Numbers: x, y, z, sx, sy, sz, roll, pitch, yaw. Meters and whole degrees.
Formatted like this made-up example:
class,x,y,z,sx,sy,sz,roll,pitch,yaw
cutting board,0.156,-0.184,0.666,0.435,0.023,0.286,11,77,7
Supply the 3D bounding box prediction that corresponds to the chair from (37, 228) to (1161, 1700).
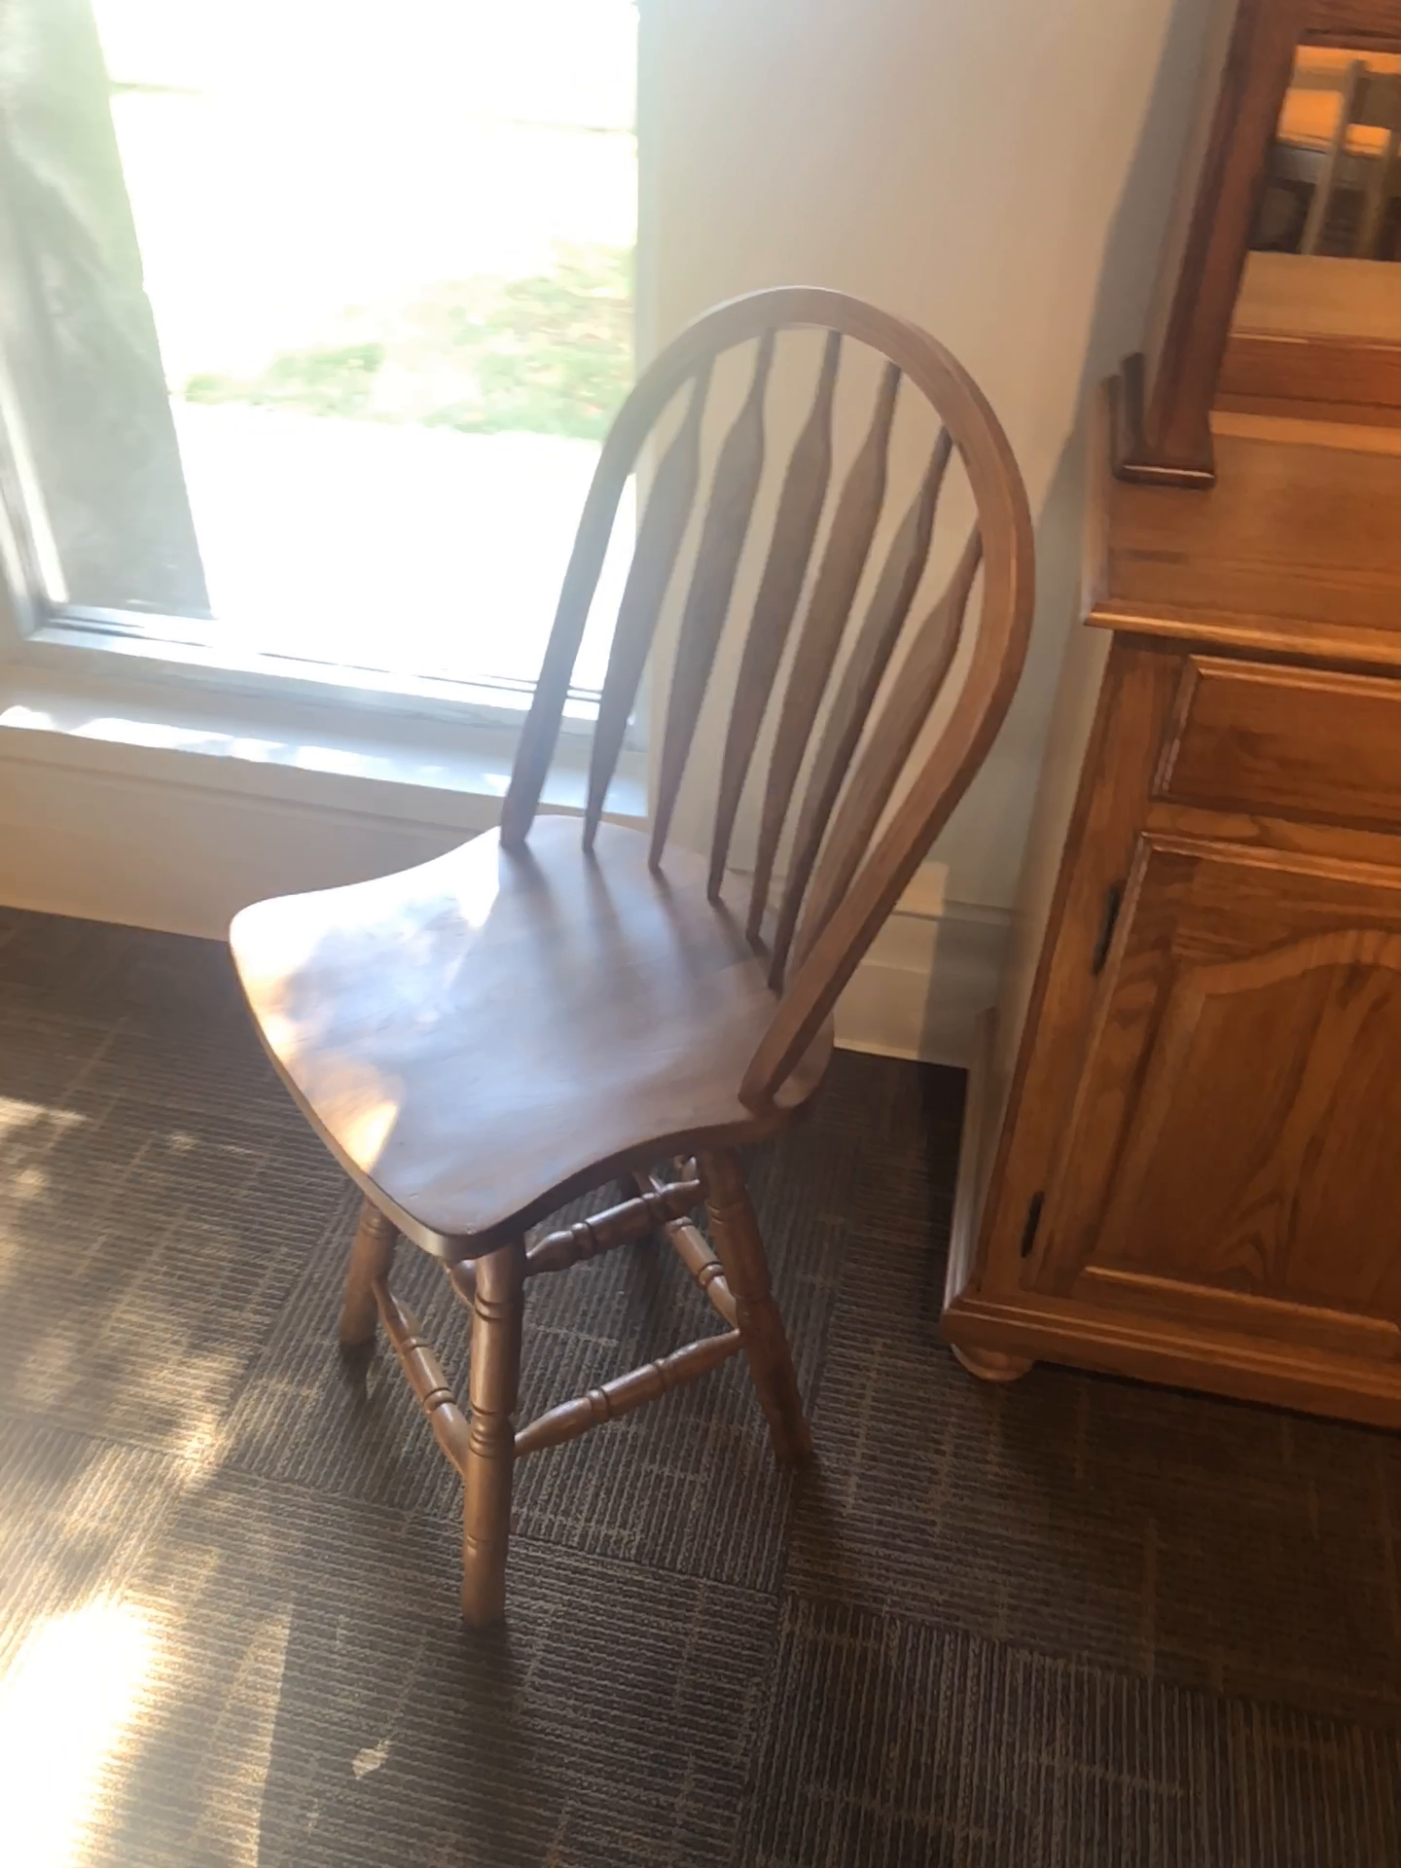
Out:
class,x,y,z,sx,sy,sz,roll,pitch,yaw
chair,-0.096,0.048,1.280,0.541,1.025,0.482,-19,43,-25
